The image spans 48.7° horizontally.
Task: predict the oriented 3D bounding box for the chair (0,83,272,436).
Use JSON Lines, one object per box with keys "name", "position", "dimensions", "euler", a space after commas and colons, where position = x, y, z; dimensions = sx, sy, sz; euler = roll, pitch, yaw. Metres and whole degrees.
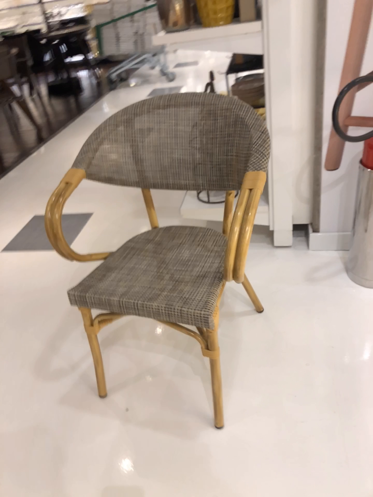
{"name": "chair", "position": [-0.073, 0.004, 1.225], "dimensions": [0.520, 0.784, 0.574], "euler": [5, 35, 22]}
